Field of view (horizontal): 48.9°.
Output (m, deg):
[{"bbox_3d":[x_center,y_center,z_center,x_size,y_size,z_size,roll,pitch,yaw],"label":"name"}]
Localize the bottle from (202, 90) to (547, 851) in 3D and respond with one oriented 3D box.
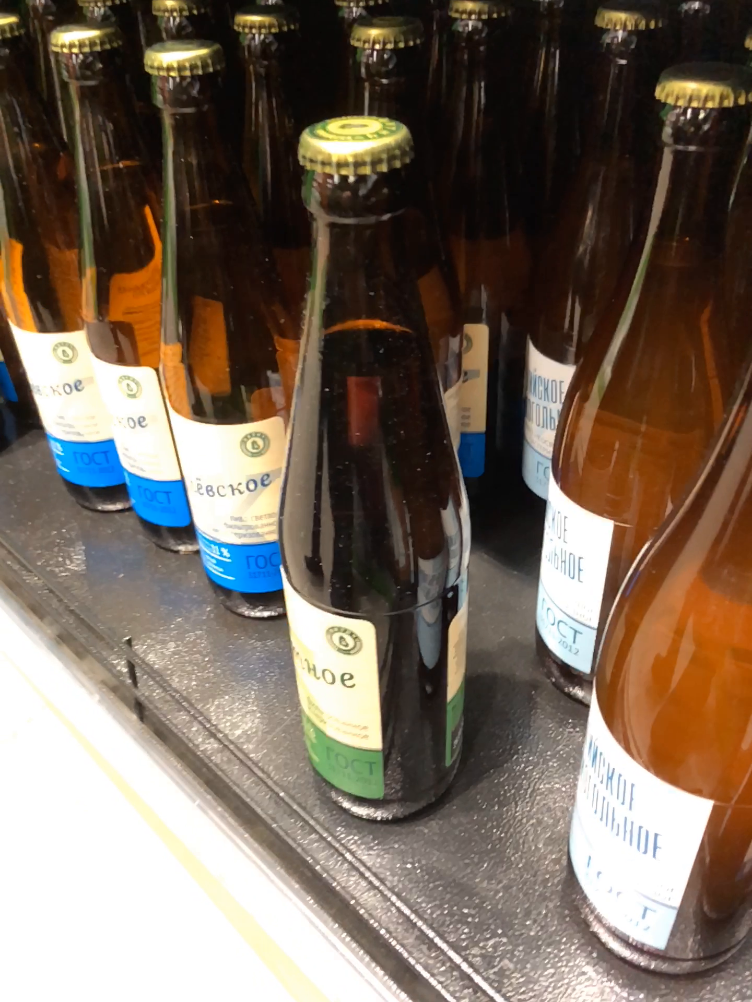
[{"bbox_3d":[-0.001,0.009,0.279,0.070,0.249,0.080,-9,39,-7],"label":"bottle"}]
